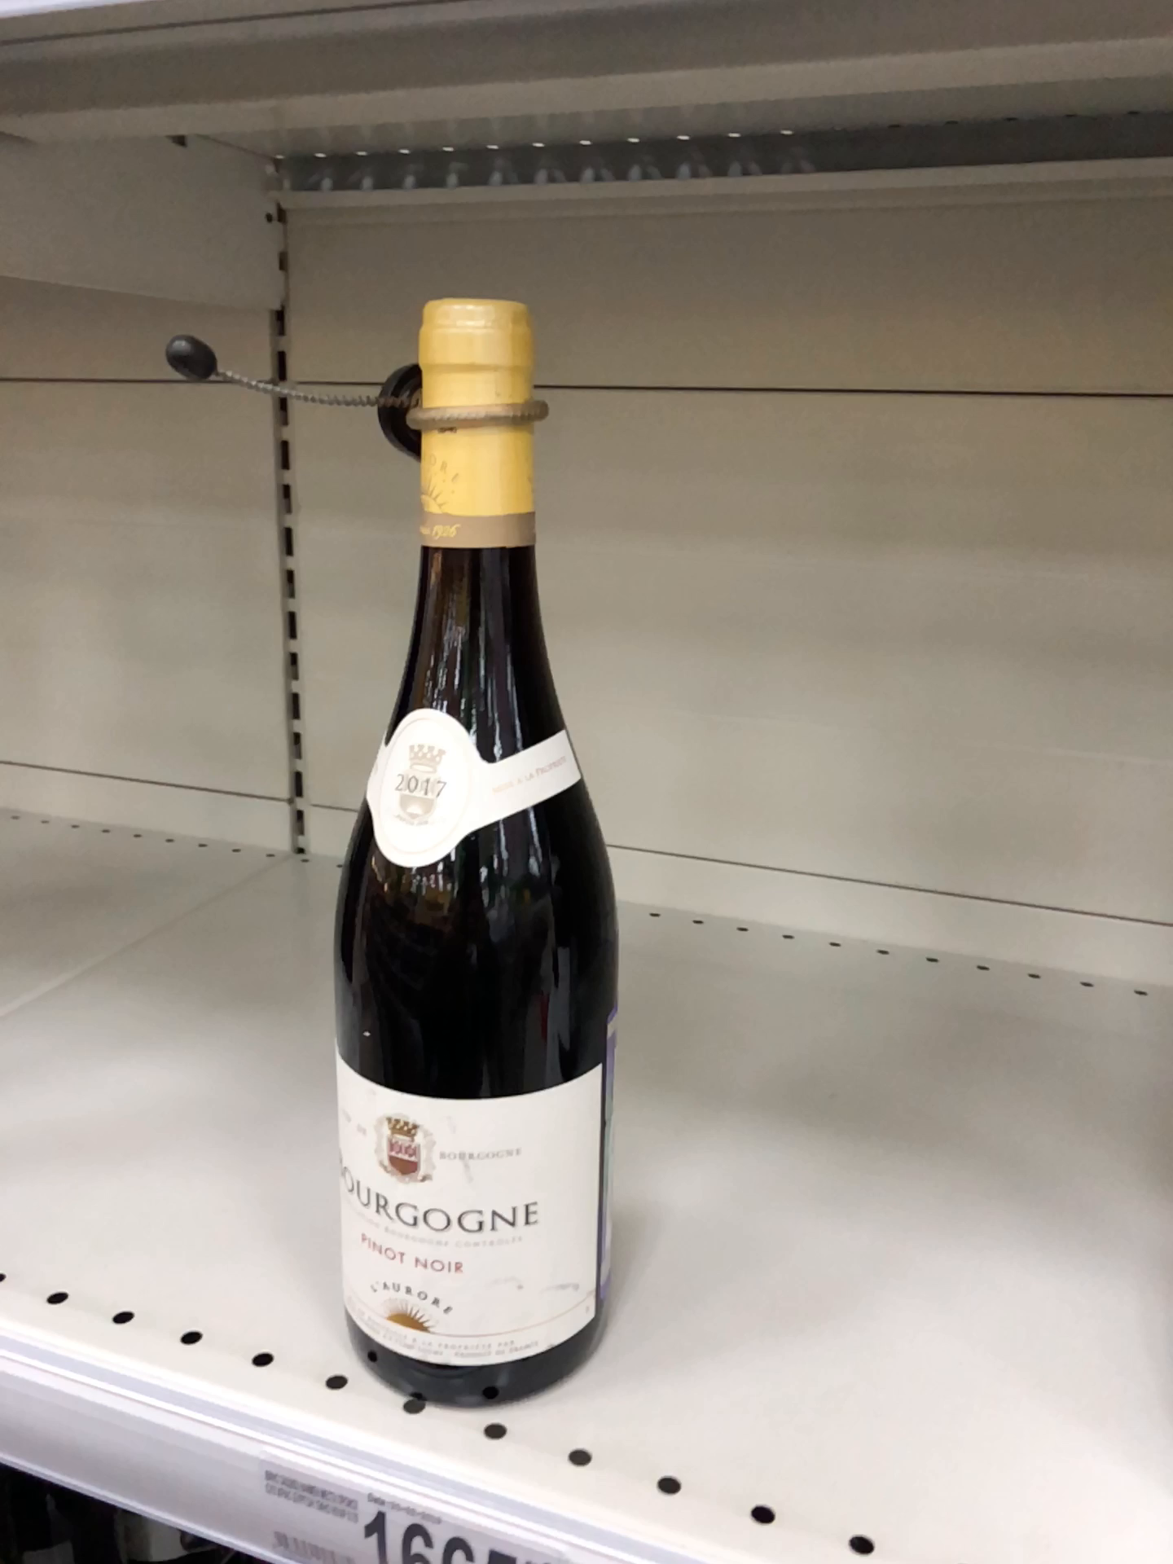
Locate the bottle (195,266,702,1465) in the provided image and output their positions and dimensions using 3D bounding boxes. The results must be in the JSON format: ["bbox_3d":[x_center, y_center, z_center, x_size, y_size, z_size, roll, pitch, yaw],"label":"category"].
[{"bbox_3d":[-0.032,0.020,0.353,0.090,0.289,0.090,1,15,0],"label":"bottle"}]
